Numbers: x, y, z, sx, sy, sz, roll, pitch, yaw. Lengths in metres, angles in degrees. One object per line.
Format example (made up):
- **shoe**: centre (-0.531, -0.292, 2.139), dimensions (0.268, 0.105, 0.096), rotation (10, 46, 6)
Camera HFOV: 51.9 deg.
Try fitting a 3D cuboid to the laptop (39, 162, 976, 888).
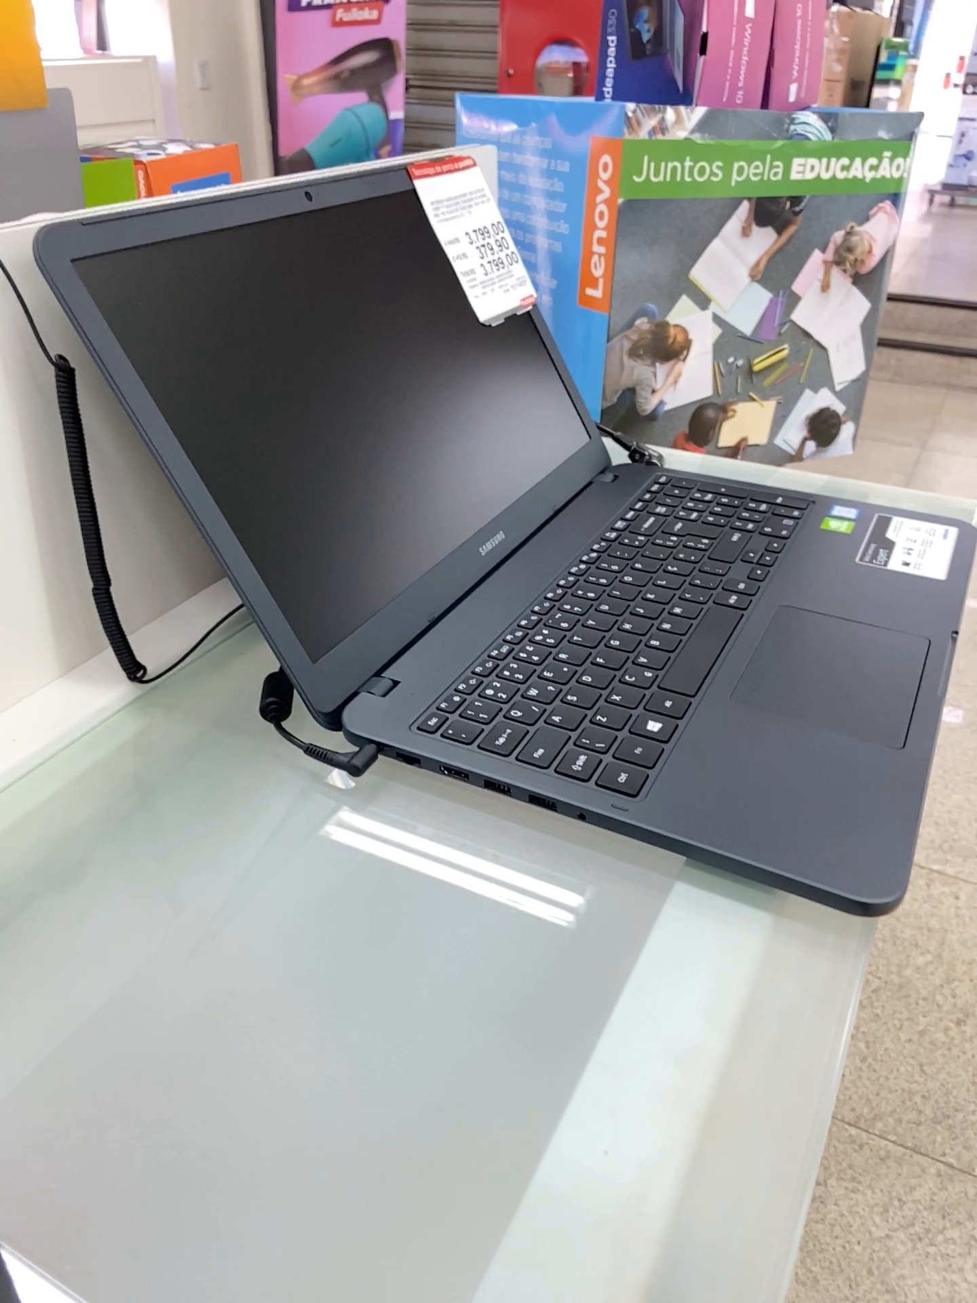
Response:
- **laptop**: centre (0.064, -0.127, 0.529), dimensions (0.368, 0.192, 0.373), rotation (15, 34, 23)
